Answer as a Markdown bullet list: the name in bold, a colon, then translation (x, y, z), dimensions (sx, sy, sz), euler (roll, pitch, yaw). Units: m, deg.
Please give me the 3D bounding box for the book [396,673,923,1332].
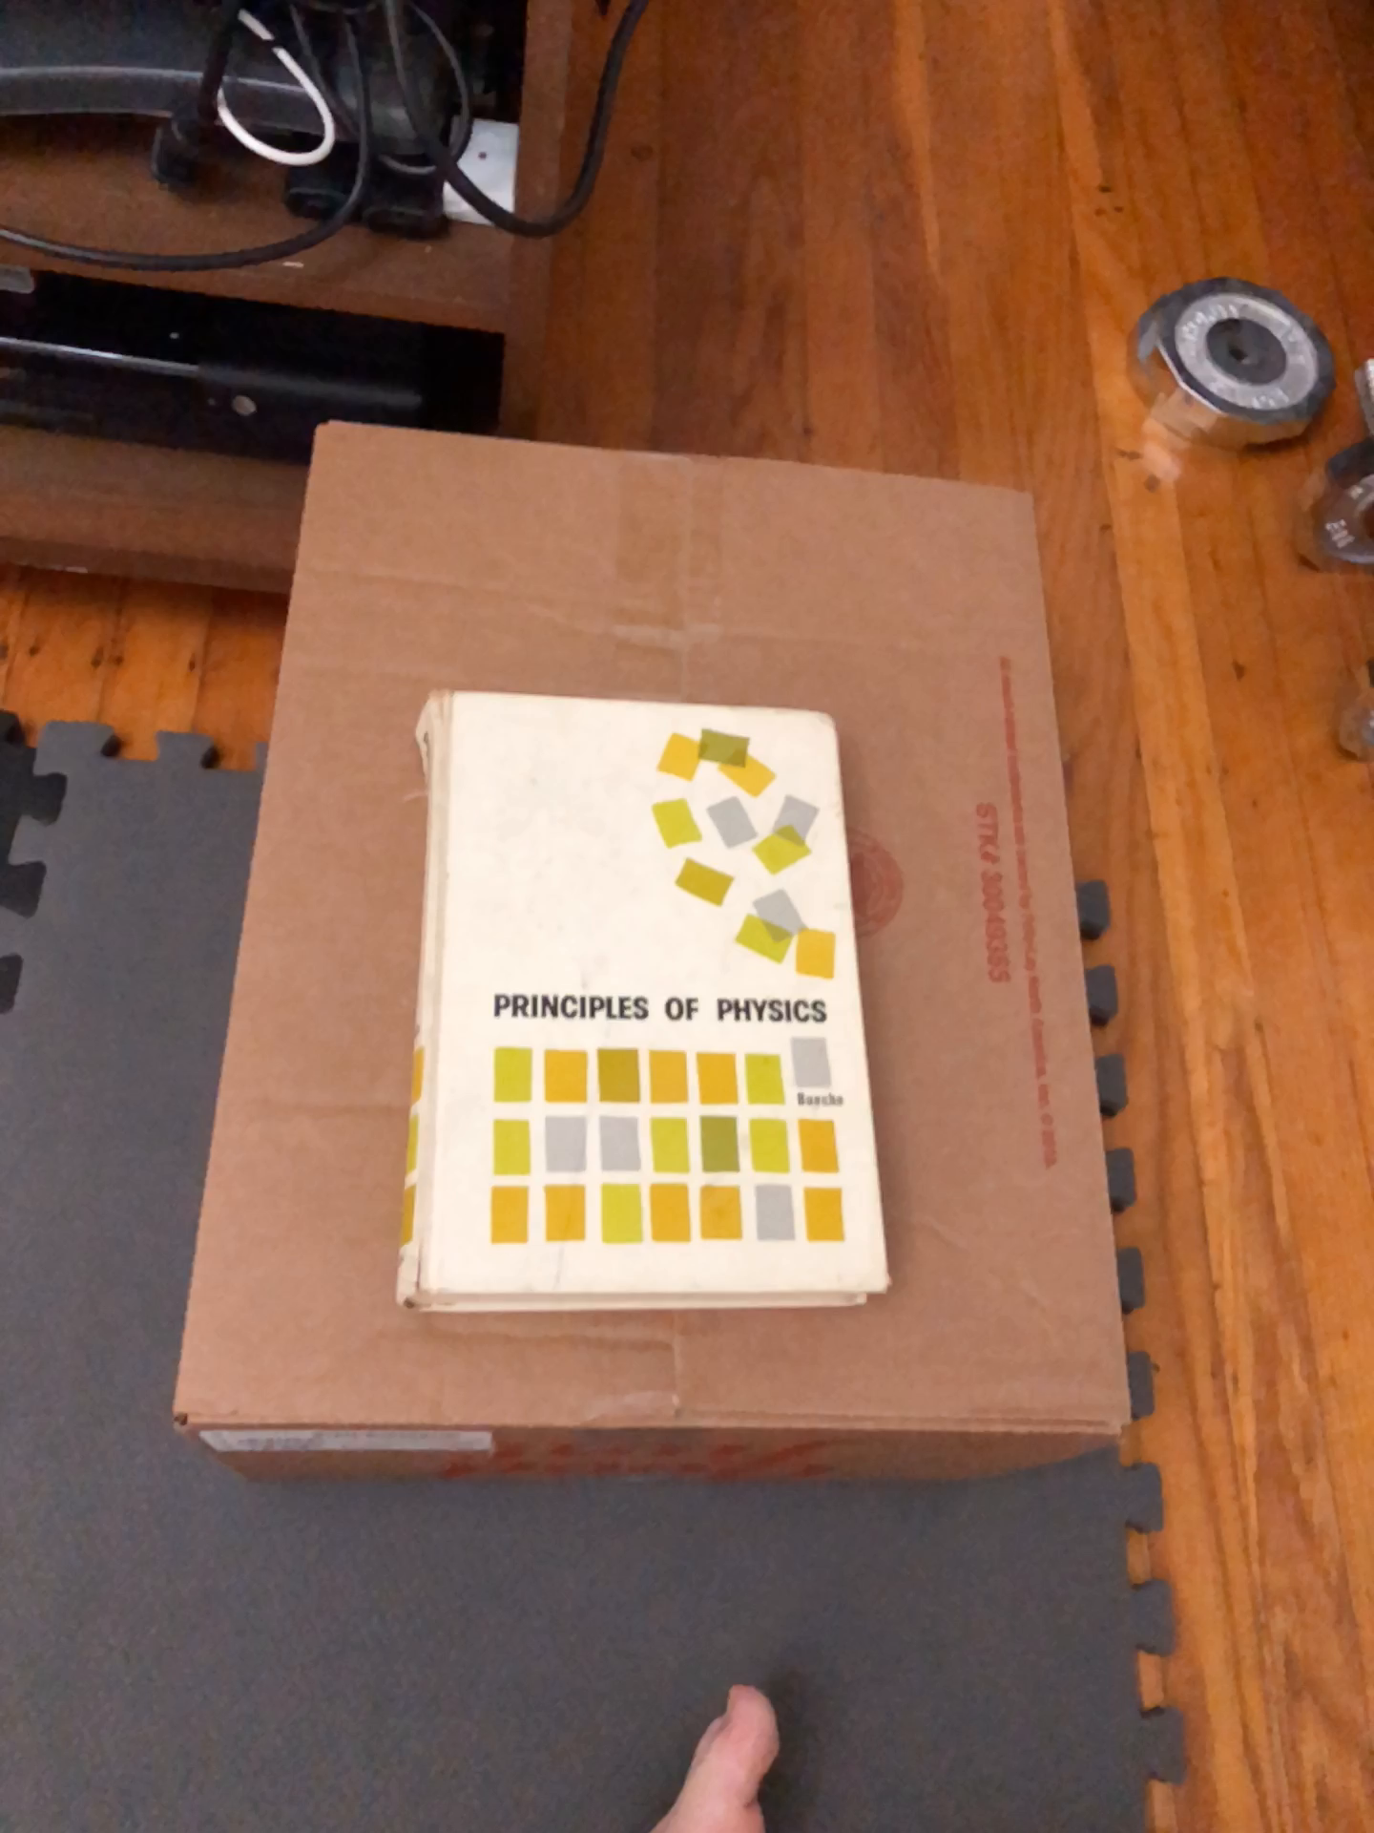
- **book**: translation (-0.013, 0.028, 0.586), dimensions (0.180, 0.040, 0.251), euler (2, 65, -8)
